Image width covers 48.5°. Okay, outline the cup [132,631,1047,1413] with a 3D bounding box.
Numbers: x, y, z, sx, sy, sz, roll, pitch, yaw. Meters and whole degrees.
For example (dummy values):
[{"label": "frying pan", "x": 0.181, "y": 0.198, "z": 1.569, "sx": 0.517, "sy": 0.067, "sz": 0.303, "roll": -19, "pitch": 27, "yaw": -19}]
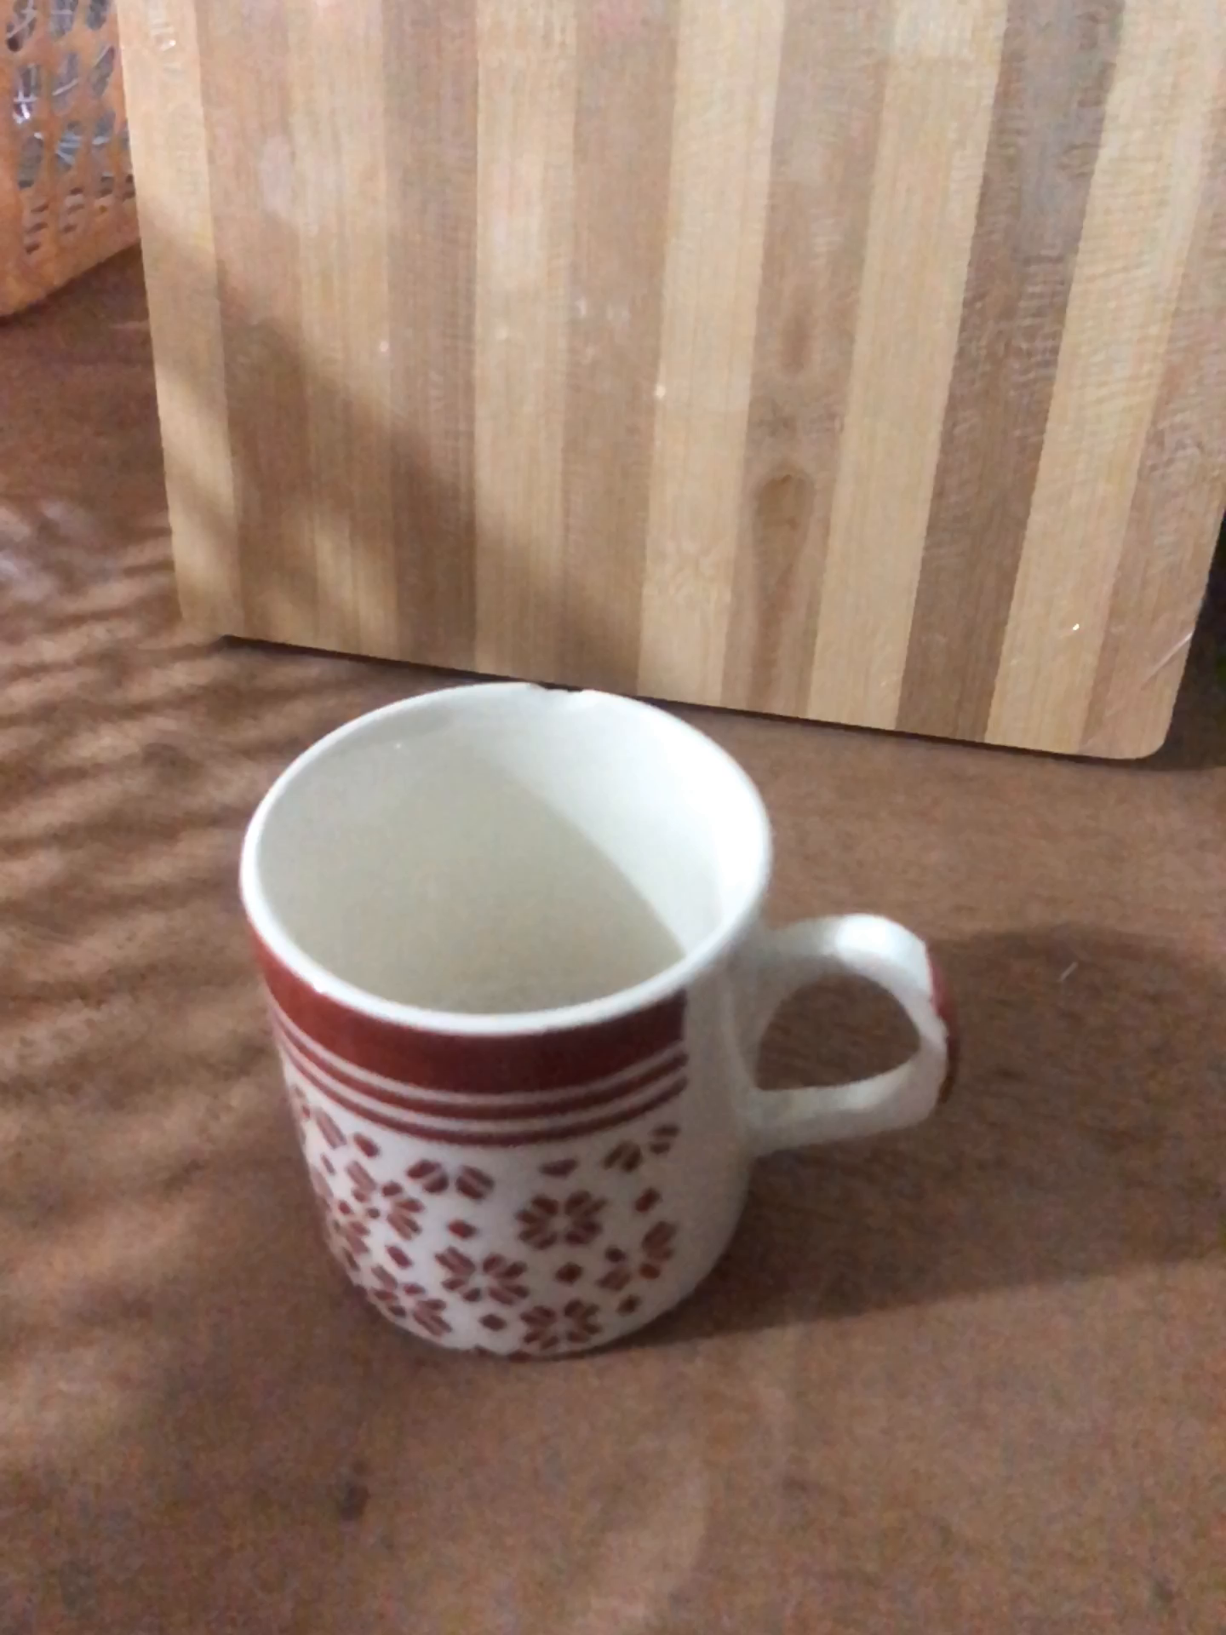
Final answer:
[{"label": "cup", "x": 0.001, "y": 0.025, "z": 0.182, "sx": 0.090, "sy": 0.070, "sz": 0.070, "roll": 2, "pitch": 40, "yaw": 5}]
